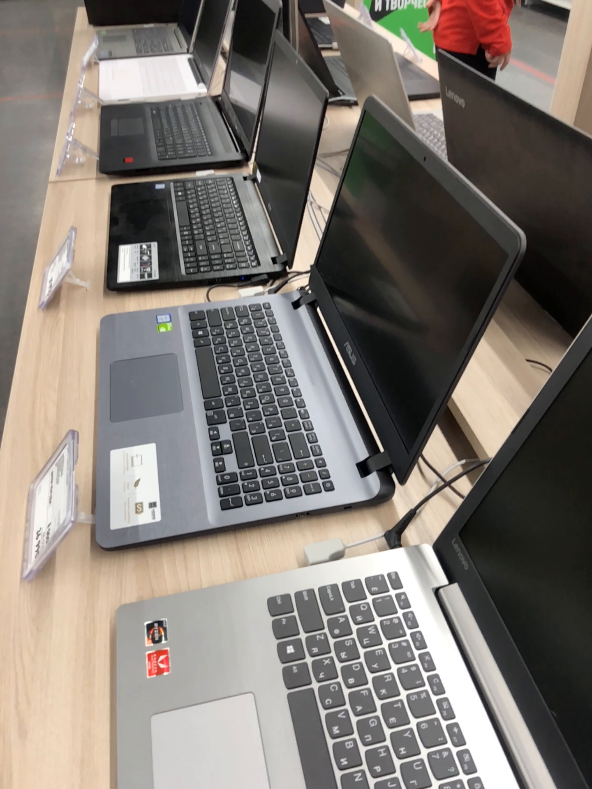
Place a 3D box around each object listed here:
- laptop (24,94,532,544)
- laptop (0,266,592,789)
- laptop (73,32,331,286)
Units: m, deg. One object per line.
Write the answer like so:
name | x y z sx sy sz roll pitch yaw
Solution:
laptop | -0.037 -0.100 0.613 0.328 0.226 0.346 -9 40 -8
laptop | 0.066 0.163 0.295 0.332 0.220 0.372 -11 41 -9
laptop | -0.135 -0.351 0.929 0.291 0.222 0.334 -8 40 -8
